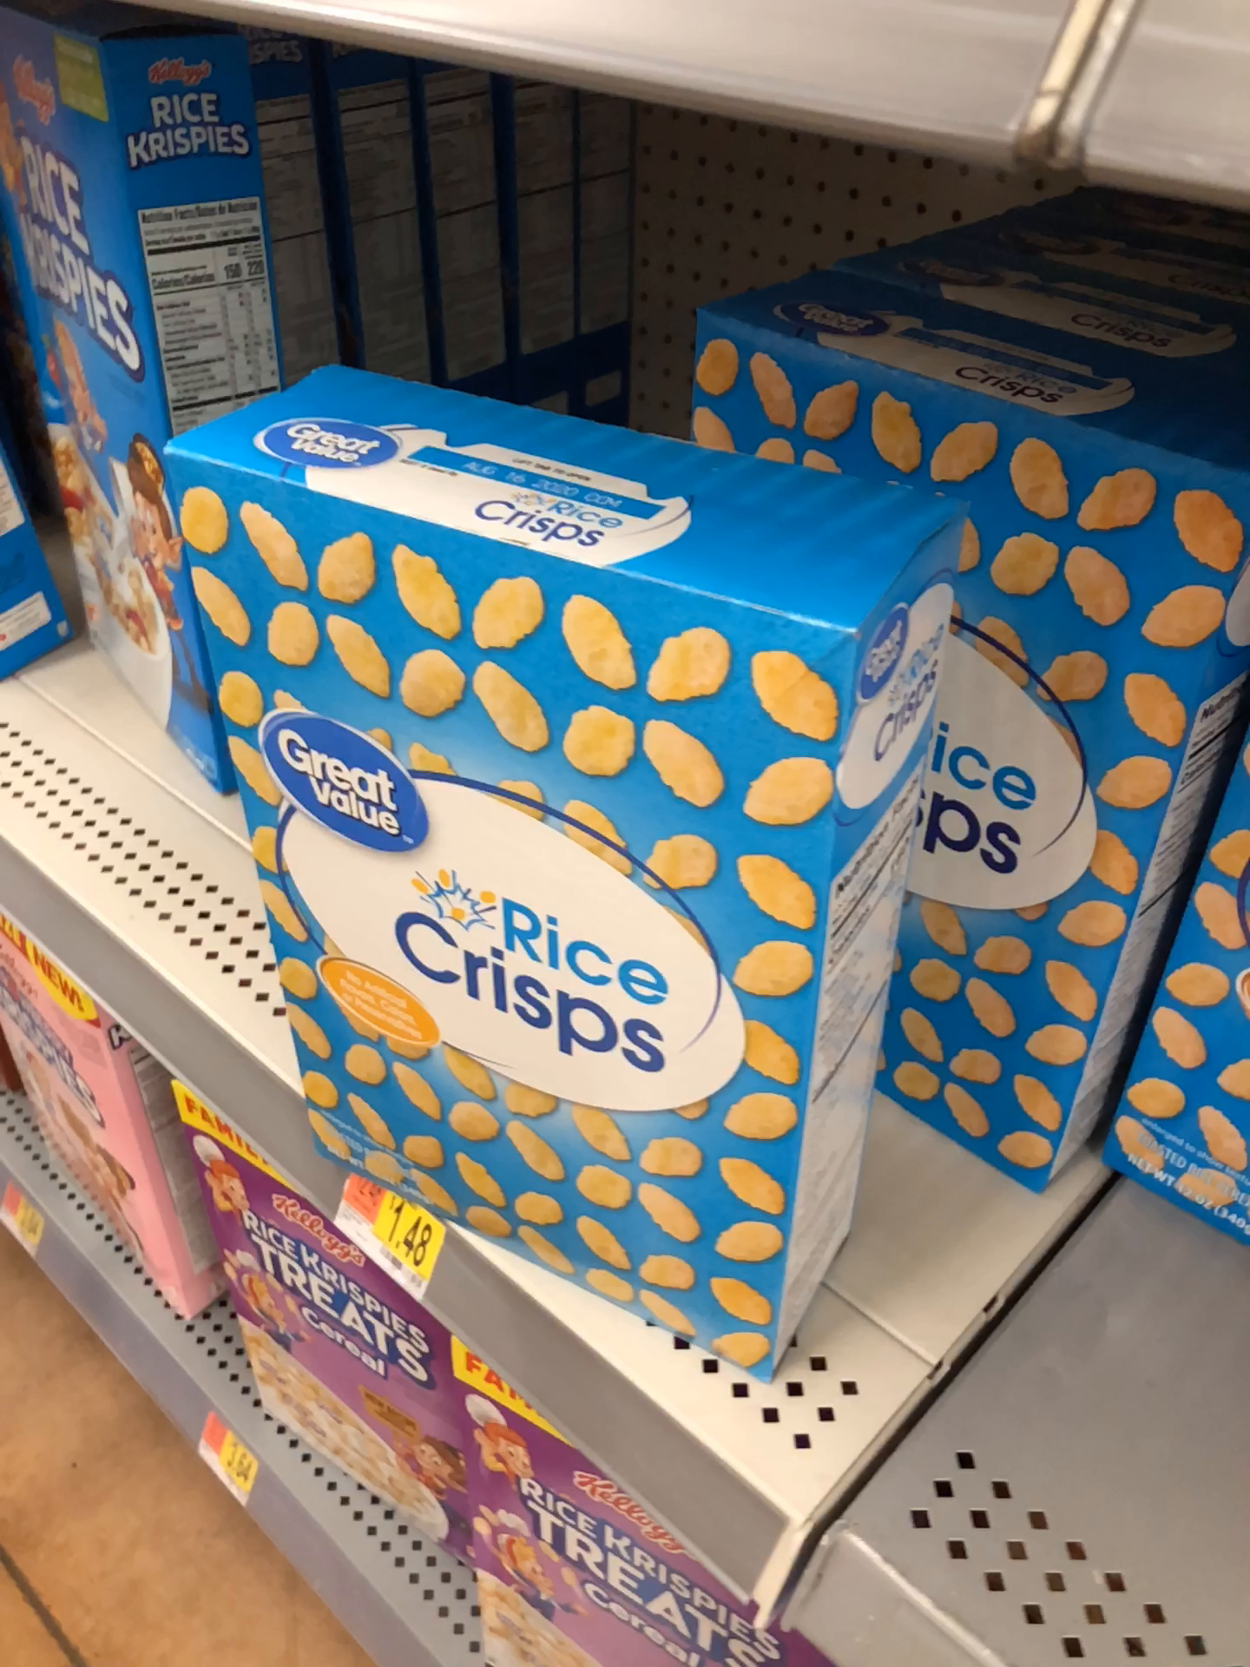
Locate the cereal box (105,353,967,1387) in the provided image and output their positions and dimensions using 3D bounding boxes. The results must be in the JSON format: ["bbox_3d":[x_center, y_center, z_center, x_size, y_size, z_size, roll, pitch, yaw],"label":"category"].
[{"bbox_3d":[-0.024,0.018,0.414,0.200,0.269,0.070,19,42,24],"label":"cereal box"}]
